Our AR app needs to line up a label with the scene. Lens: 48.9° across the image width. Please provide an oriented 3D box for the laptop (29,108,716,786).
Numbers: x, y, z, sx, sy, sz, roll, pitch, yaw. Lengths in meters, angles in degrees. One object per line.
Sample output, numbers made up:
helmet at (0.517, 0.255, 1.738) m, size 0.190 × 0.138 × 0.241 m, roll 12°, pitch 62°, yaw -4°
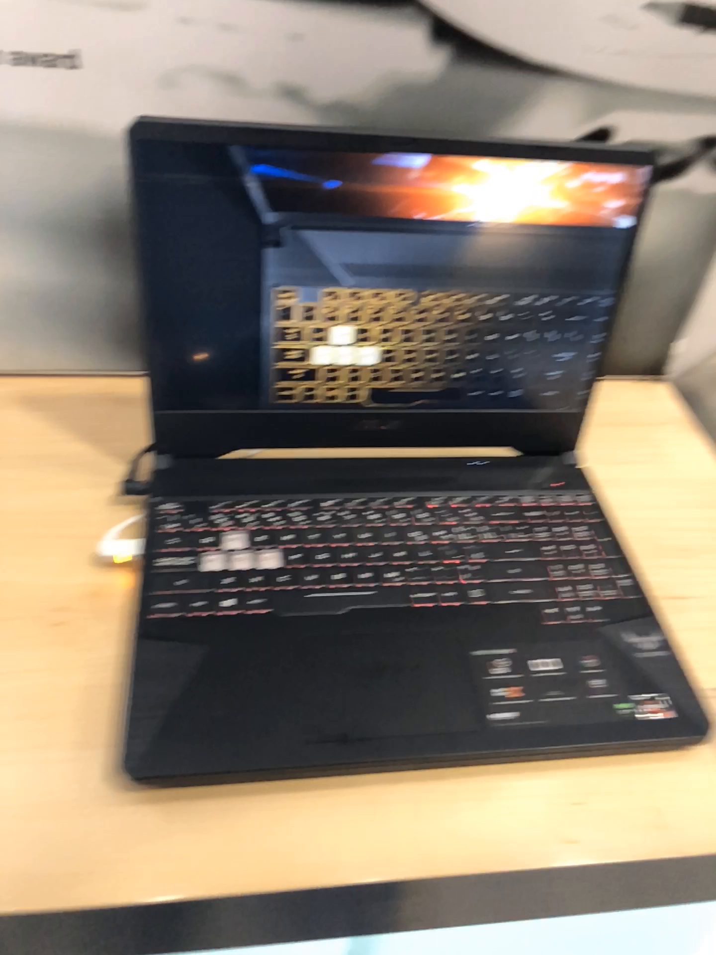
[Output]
laptop at (0.037, -0.035, 0.484) m, size 0.358 × 0.245 × 0.310 m, roll -1°, pitch 43°, yaw -10°
